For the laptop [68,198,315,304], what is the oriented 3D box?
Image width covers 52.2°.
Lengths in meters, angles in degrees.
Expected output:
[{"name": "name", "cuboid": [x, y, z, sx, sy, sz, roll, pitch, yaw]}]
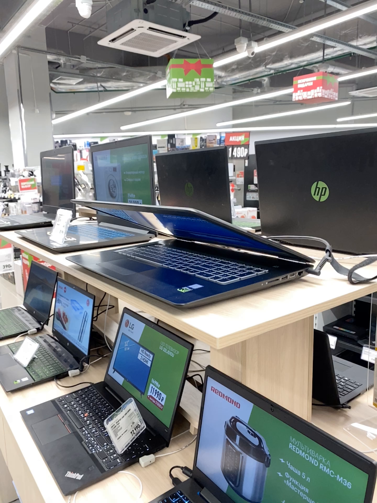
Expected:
[{"name": "laptop", "cuboid": [-0.020, -0.032, 0.695, 0.263, 0.103, 0.397, -11, 13, -35]}]
